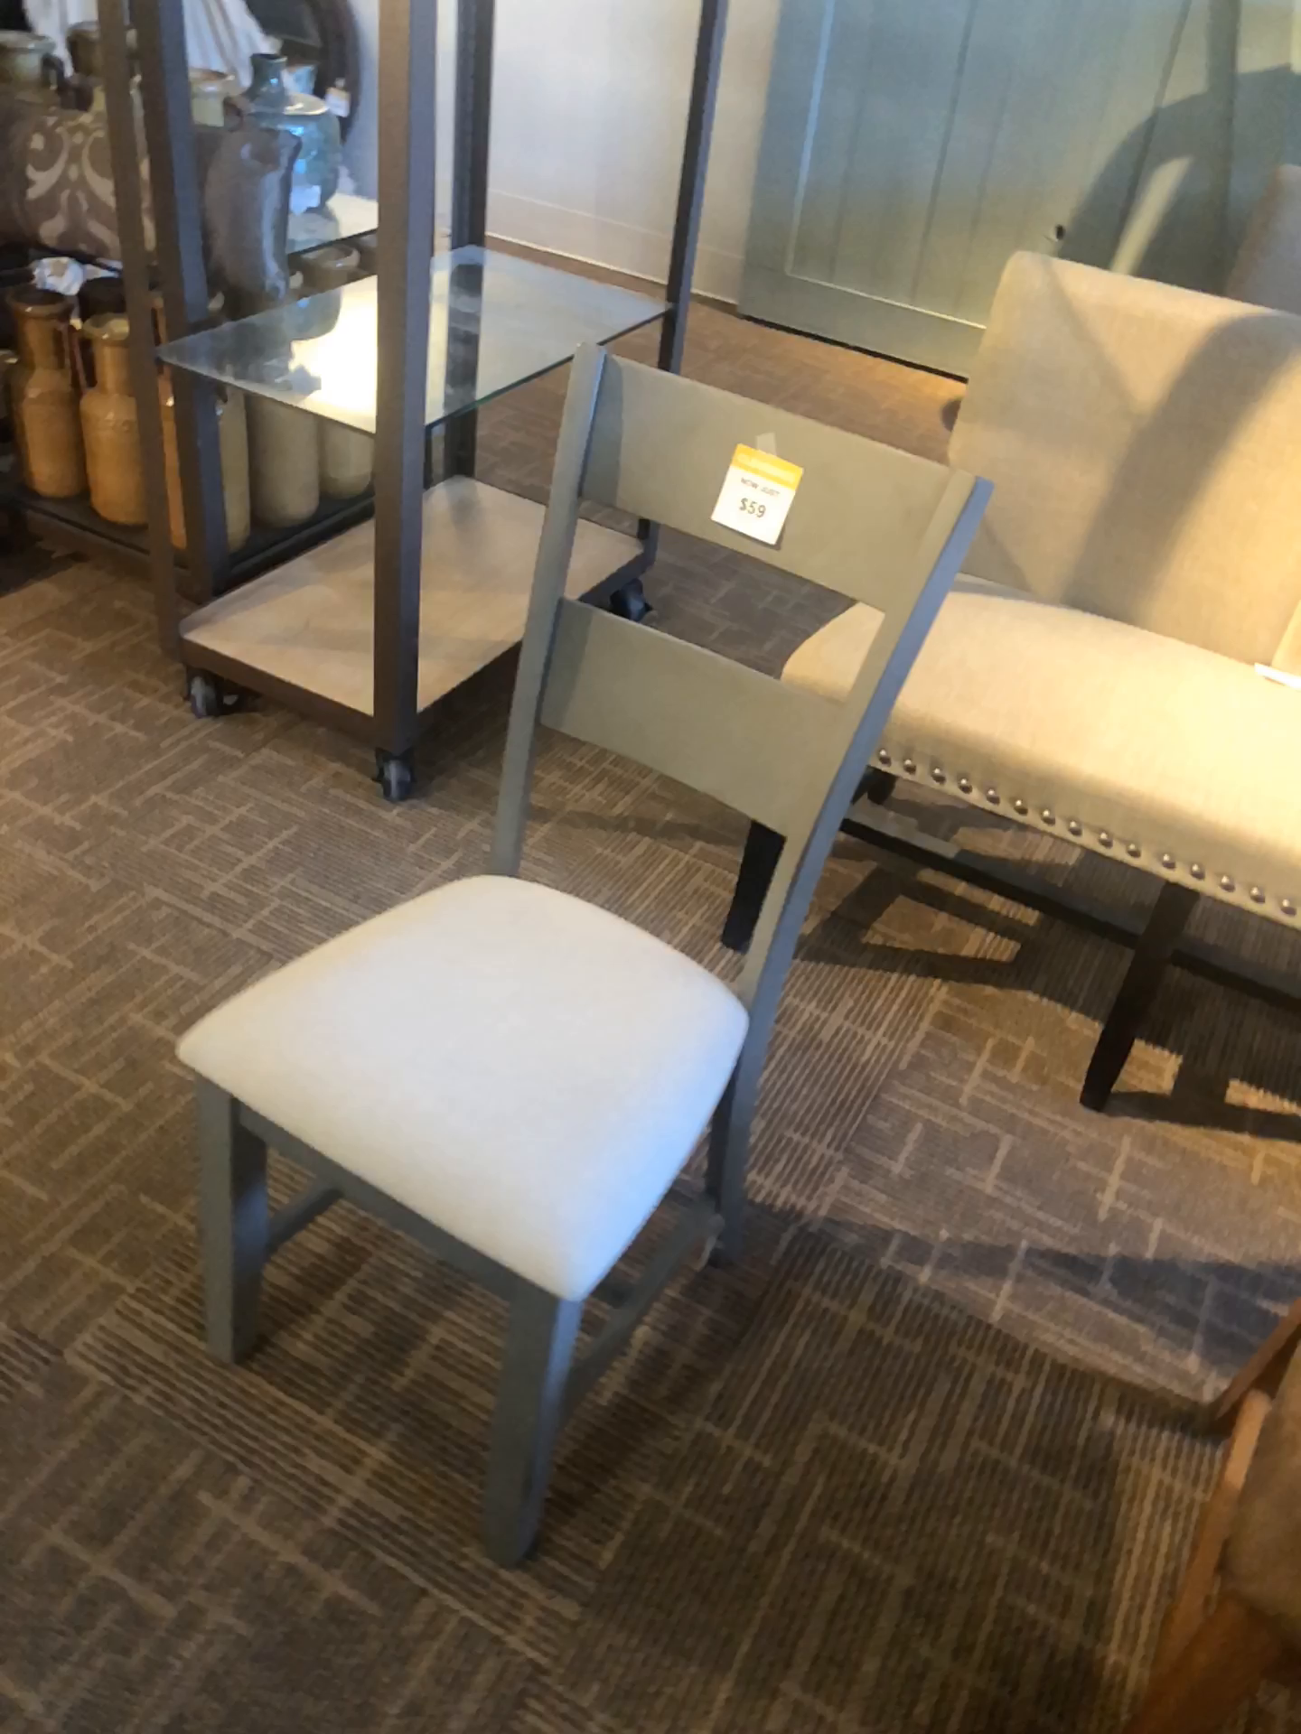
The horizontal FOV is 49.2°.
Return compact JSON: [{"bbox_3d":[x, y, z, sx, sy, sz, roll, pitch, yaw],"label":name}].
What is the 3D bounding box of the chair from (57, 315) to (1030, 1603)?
[{"bbox_3d":[-0.090,0.080,1.372,0.460,0.965,0.633,26,40,21],"label":"chair"}]
